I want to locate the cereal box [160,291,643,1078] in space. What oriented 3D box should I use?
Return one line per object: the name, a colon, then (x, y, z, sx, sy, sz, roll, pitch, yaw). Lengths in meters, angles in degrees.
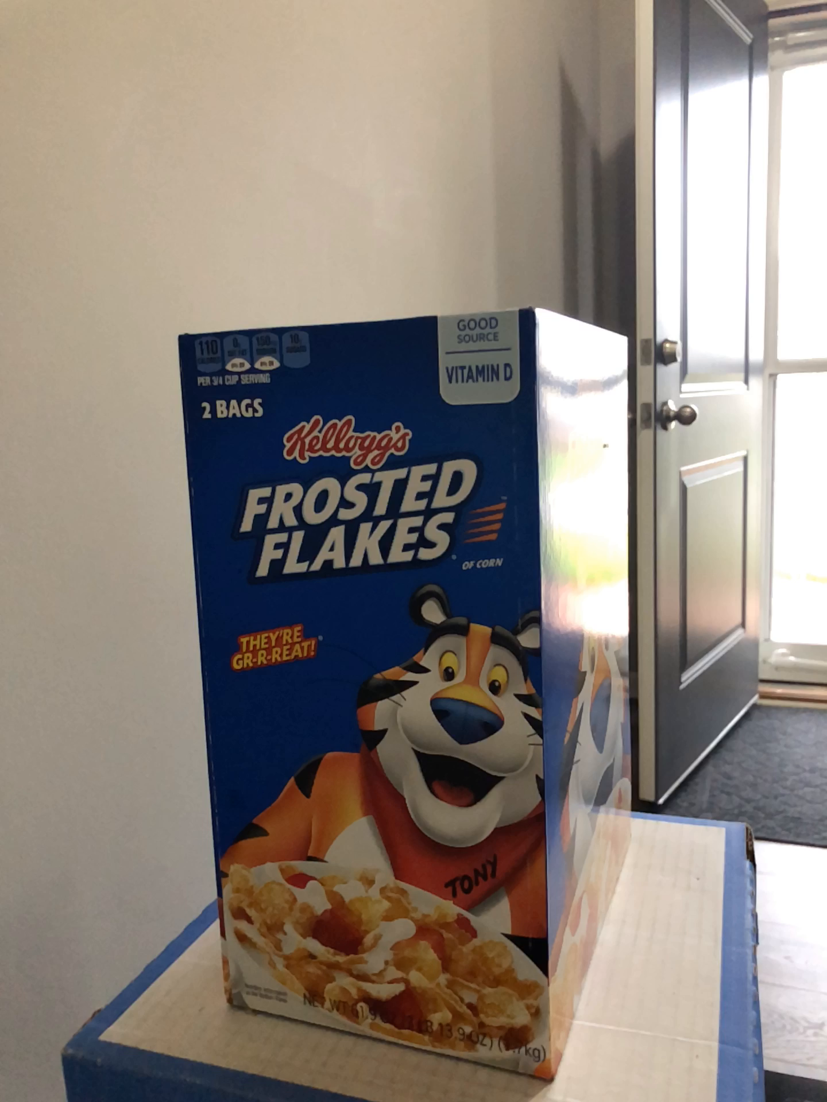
cereal box: (0.023, 0.040, 0.510, 0.170, 0.319, 0.260, 1, 9, 21)
